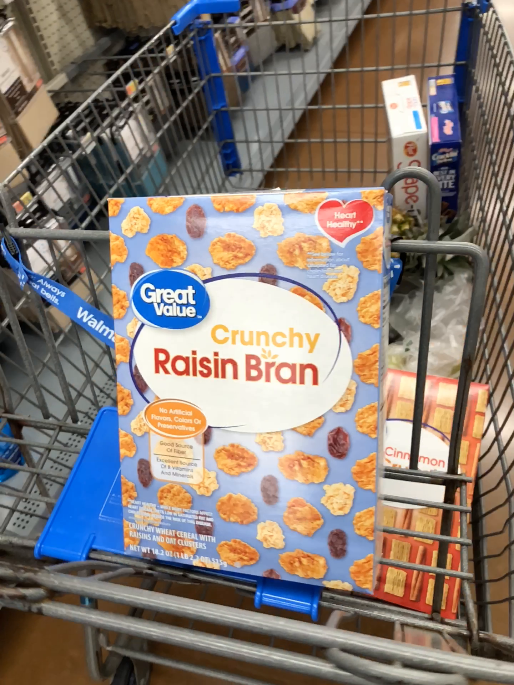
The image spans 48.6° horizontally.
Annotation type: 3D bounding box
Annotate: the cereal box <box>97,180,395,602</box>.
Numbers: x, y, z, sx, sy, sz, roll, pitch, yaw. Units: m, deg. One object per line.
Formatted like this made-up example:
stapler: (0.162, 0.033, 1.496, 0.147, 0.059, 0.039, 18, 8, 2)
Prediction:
cereal box: (-0.007, 0.030, 0.426, 0.200, 0.280, 0.070, 3, 9, 14)
